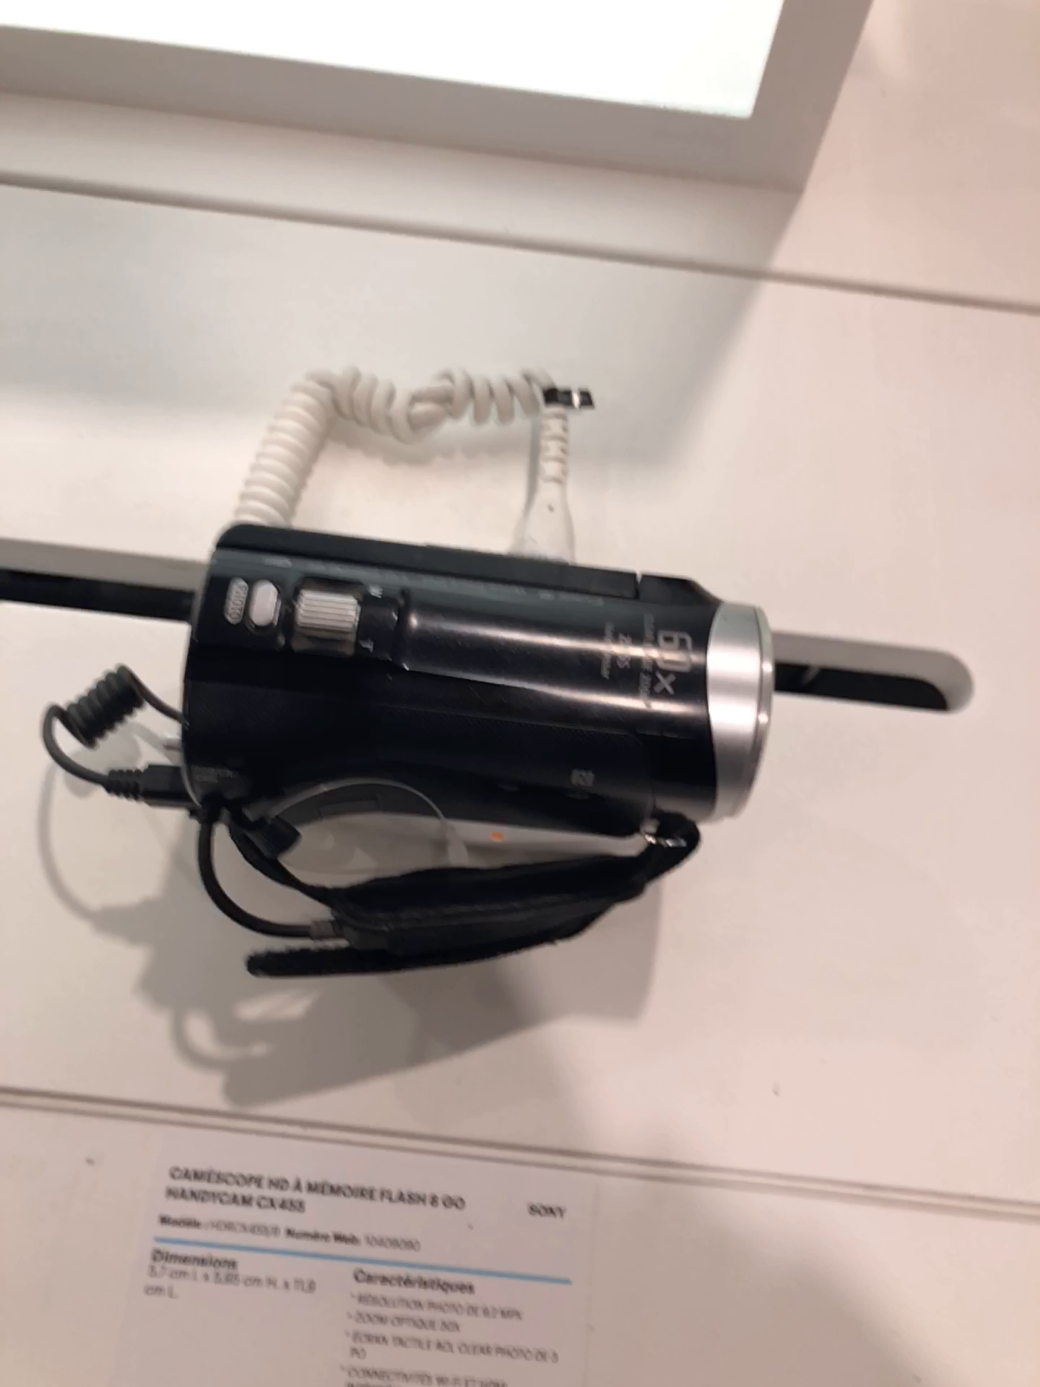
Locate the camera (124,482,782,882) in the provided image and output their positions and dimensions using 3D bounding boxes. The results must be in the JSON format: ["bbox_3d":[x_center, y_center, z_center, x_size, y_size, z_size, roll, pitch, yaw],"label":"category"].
[{"bbox_3d":[-0.011,0.000,0.251,0.121,0.058,0.057,6,66,-1],"label":"camera"}]
